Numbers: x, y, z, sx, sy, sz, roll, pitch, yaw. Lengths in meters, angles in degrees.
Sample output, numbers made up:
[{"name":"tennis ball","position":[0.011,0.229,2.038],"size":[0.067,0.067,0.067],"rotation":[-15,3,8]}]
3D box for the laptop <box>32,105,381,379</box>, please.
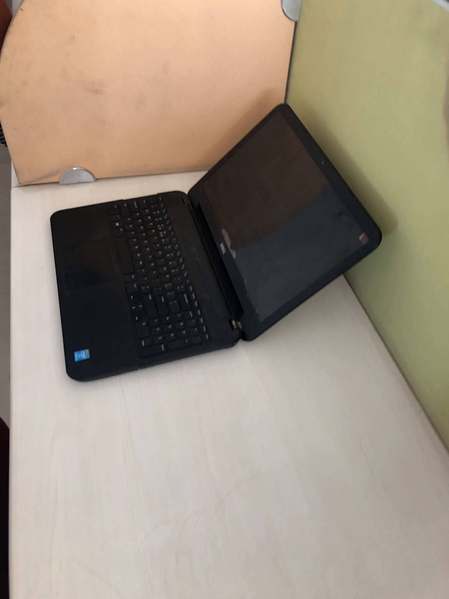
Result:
[{"name":"laptop","position":[-0.053,-0.116,0.776],"size":[0.424,0.165,0.358],"rotation":[-11,51,-12]}]
